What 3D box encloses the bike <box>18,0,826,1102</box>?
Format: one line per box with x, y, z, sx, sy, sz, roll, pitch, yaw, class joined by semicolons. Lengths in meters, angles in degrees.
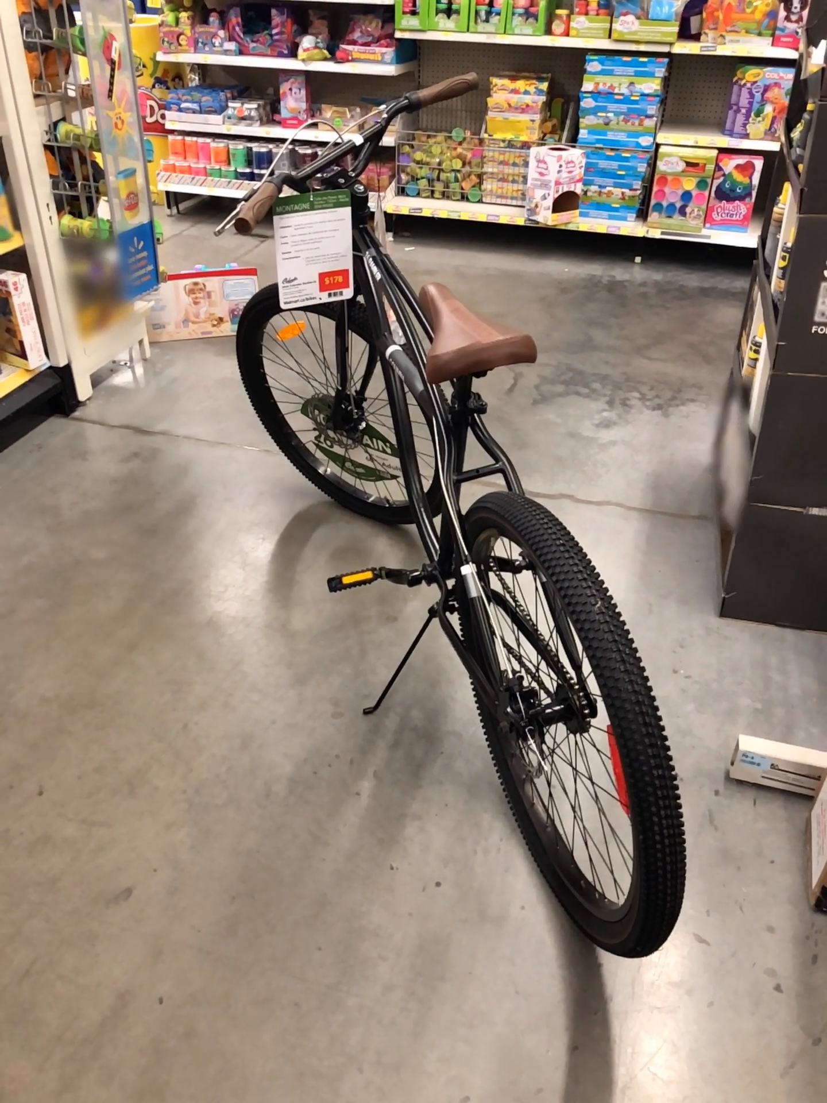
-0.087;-0.243;1.456;0.652;0.975;1.592;-13;41;-20;bike
